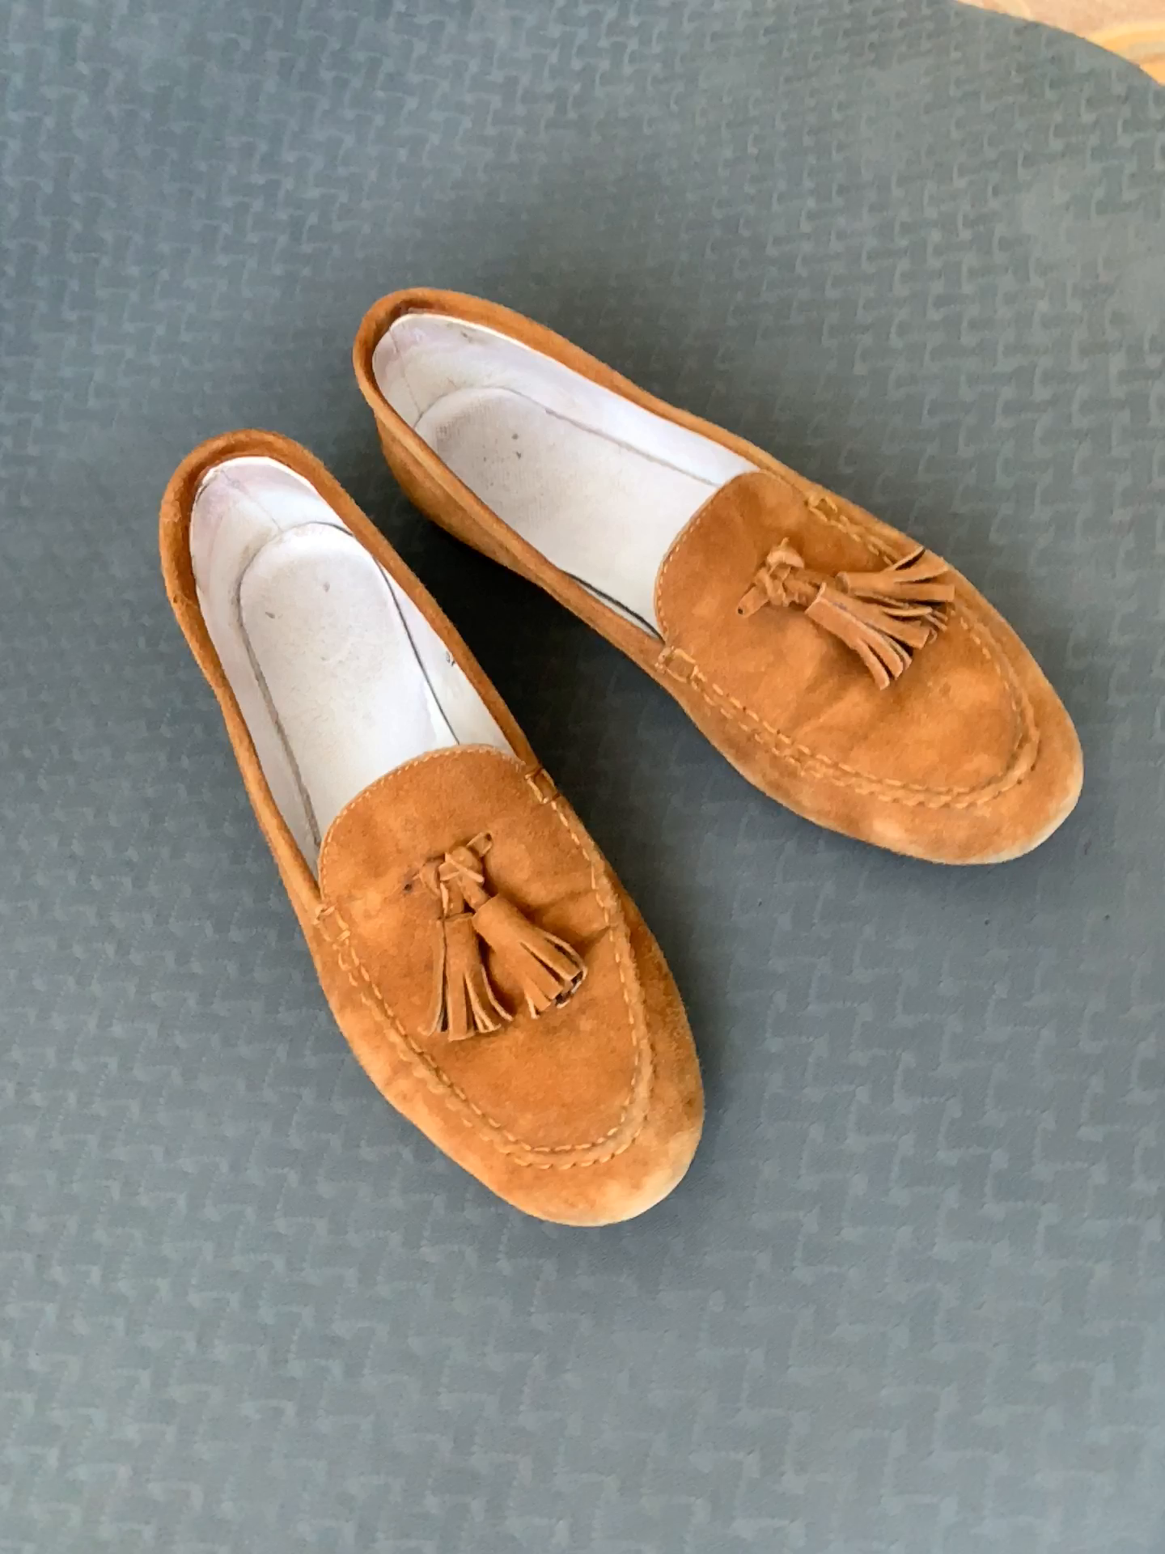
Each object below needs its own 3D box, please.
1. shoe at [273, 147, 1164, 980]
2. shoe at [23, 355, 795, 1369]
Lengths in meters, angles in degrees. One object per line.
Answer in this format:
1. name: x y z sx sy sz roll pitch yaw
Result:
1. shoe: 0.037 -0.065 0.337 0.240 0.090 0.090 40 81 24
2. shoe: -0.048 0.015 0.314 0.090 0.090 0.230 -31 65 -1
